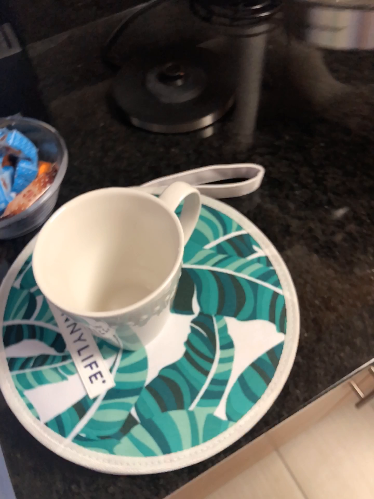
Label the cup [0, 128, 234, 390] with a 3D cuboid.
[{"bbox_3d":[-0.040,0.005,0.290,0.090,0.090,0.130,26,63,19],"label":"cup"}]
